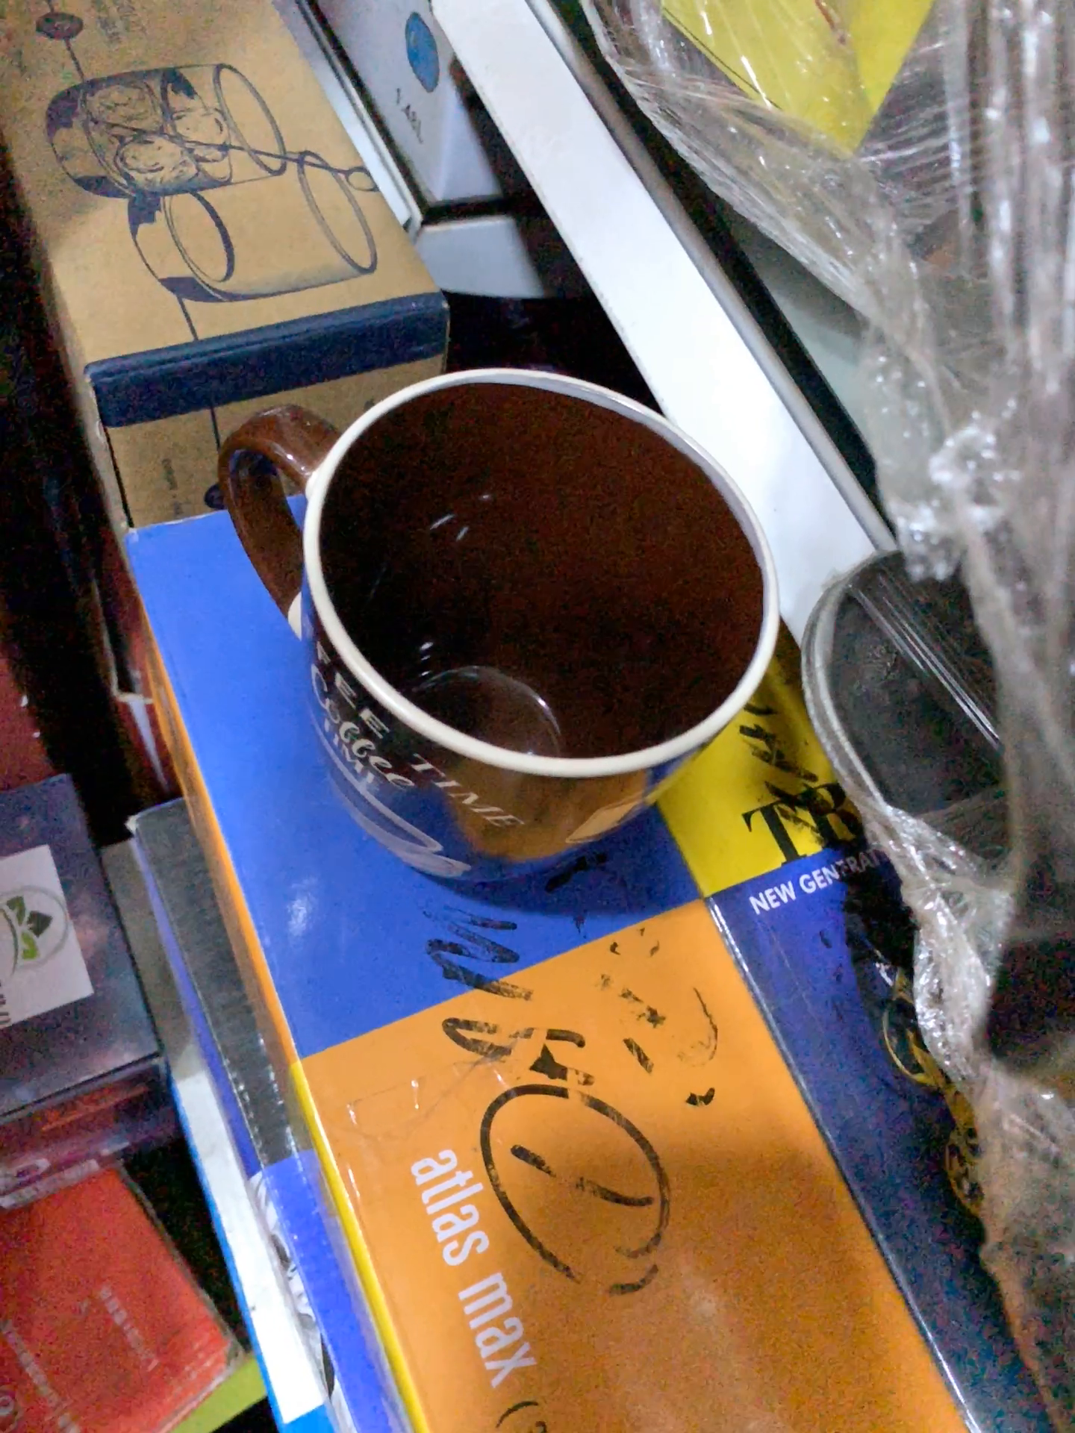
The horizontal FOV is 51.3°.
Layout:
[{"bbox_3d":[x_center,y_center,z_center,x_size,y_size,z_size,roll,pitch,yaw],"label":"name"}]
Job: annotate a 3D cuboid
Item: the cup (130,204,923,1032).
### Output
[{"bbox_3d":[-0.009,-0.016,0.207,0.070,0.080,0.110,-34,74,-26],"label":"cup"}]
